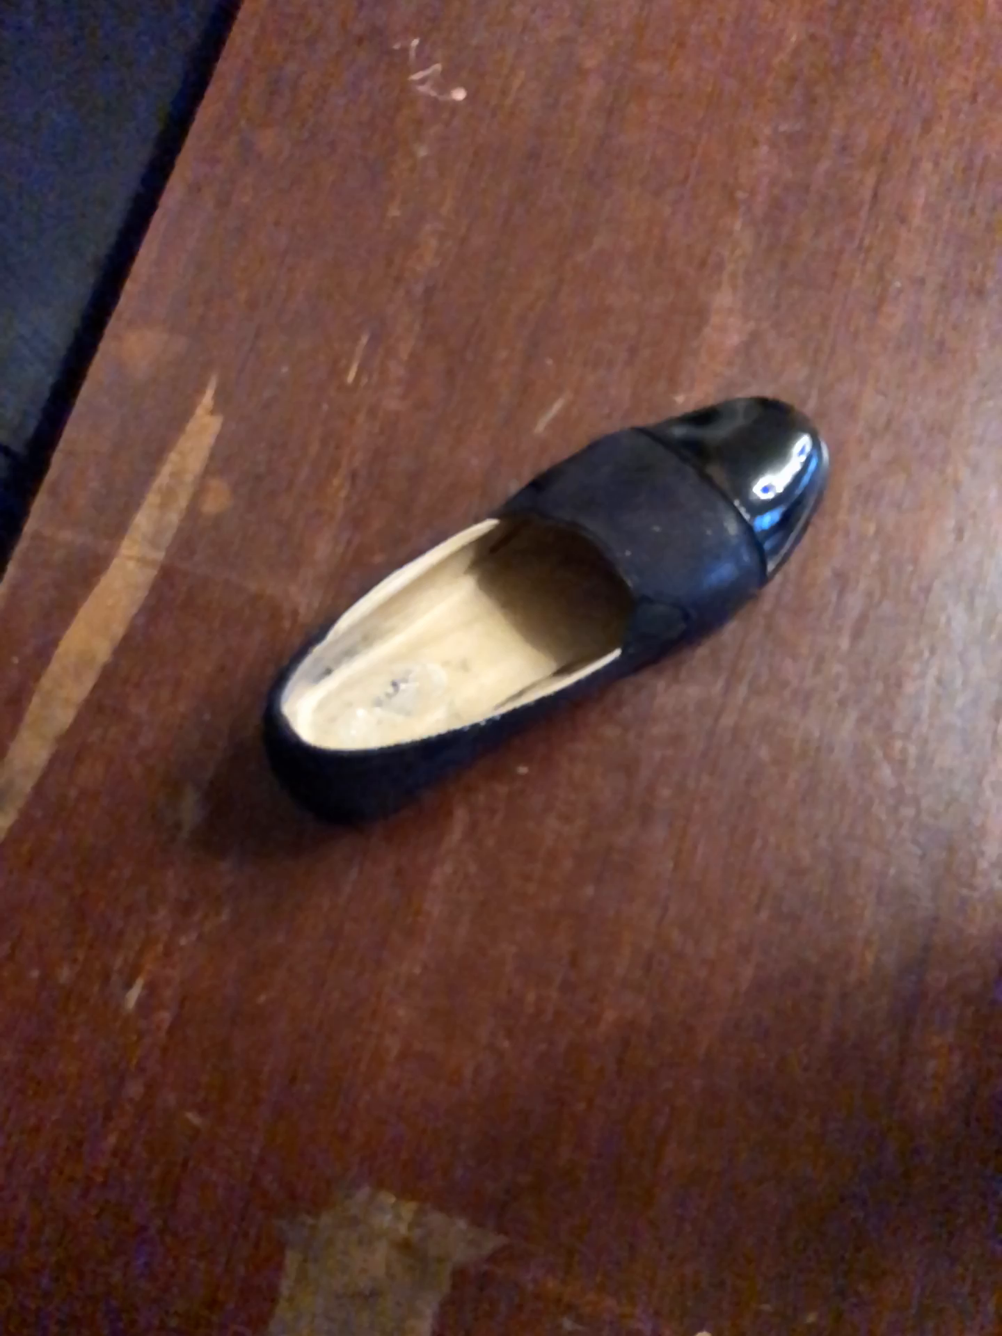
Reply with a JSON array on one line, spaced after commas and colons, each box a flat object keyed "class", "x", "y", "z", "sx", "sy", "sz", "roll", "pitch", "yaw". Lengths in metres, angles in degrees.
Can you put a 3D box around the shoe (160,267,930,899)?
[{"class": "shoe", "x": 0.017, "y": -0.028, "z": 0.392, "sx": 0.236, "sy": 0.070, "sz": 0.090, "roll": -33, "pitch": 75, "yaw": -8}]
